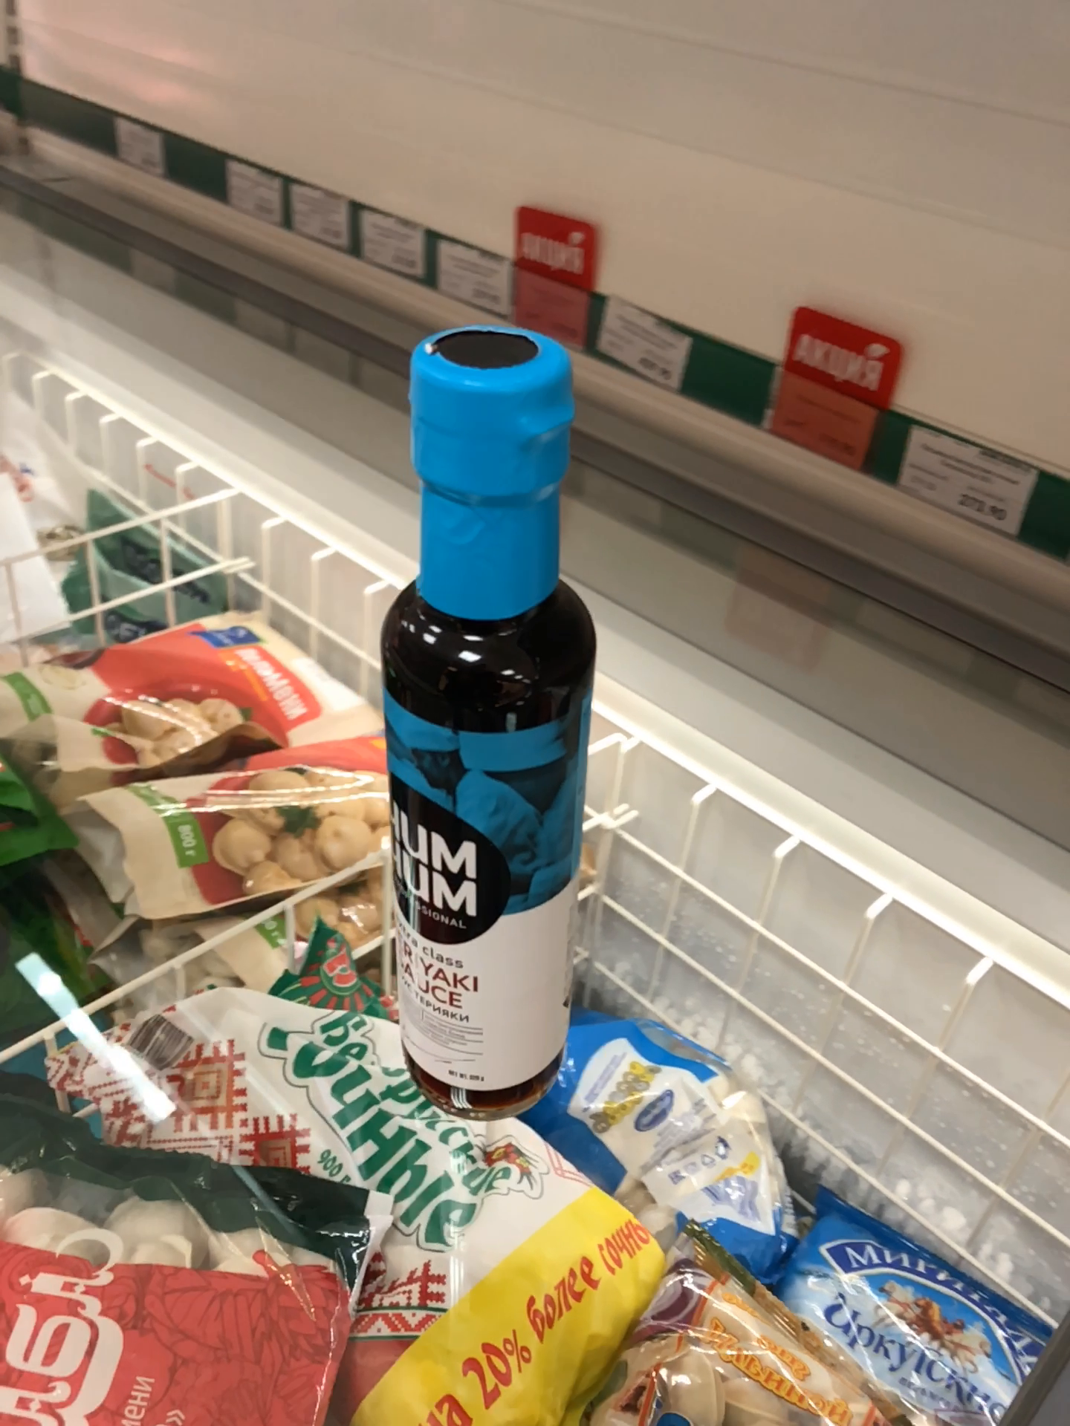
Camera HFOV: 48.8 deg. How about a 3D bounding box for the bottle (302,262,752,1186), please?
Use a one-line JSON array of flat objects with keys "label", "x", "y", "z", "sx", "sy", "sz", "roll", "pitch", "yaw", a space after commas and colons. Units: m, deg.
[{"label": "bottle", "x": -0.009, "y": 0.015, "z": 0.287, "sx": 0.060, "sy": 0.219, "sz": 0.060, "roll": 3, "pitch": 37, "yaw": -3}]
